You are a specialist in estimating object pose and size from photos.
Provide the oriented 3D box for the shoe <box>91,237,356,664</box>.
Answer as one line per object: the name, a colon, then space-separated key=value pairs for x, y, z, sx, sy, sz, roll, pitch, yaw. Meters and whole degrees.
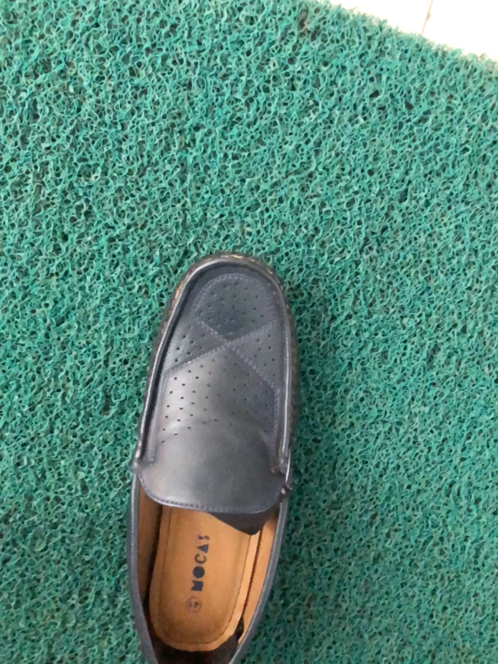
shoe: x=-0.020 y=0.093 z=0.337 sx=0.100 sy=0.070 sz=0.280 roll=9 pitch=96 yaw=-7
